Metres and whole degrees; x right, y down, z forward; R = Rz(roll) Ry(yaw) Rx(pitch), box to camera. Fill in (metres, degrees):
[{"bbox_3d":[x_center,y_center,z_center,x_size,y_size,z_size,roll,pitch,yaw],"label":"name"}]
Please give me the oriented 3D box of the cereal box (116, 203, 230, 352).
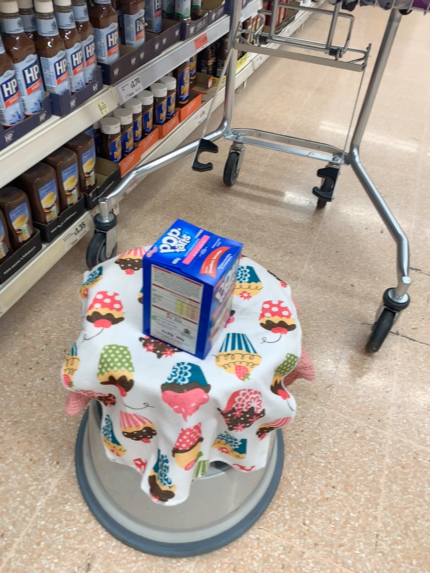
[{"bbox_3d":[-0.053,-0.011,0.557,0.100,0.139,0.091,22,47,15],"label":"cereal box"}]
